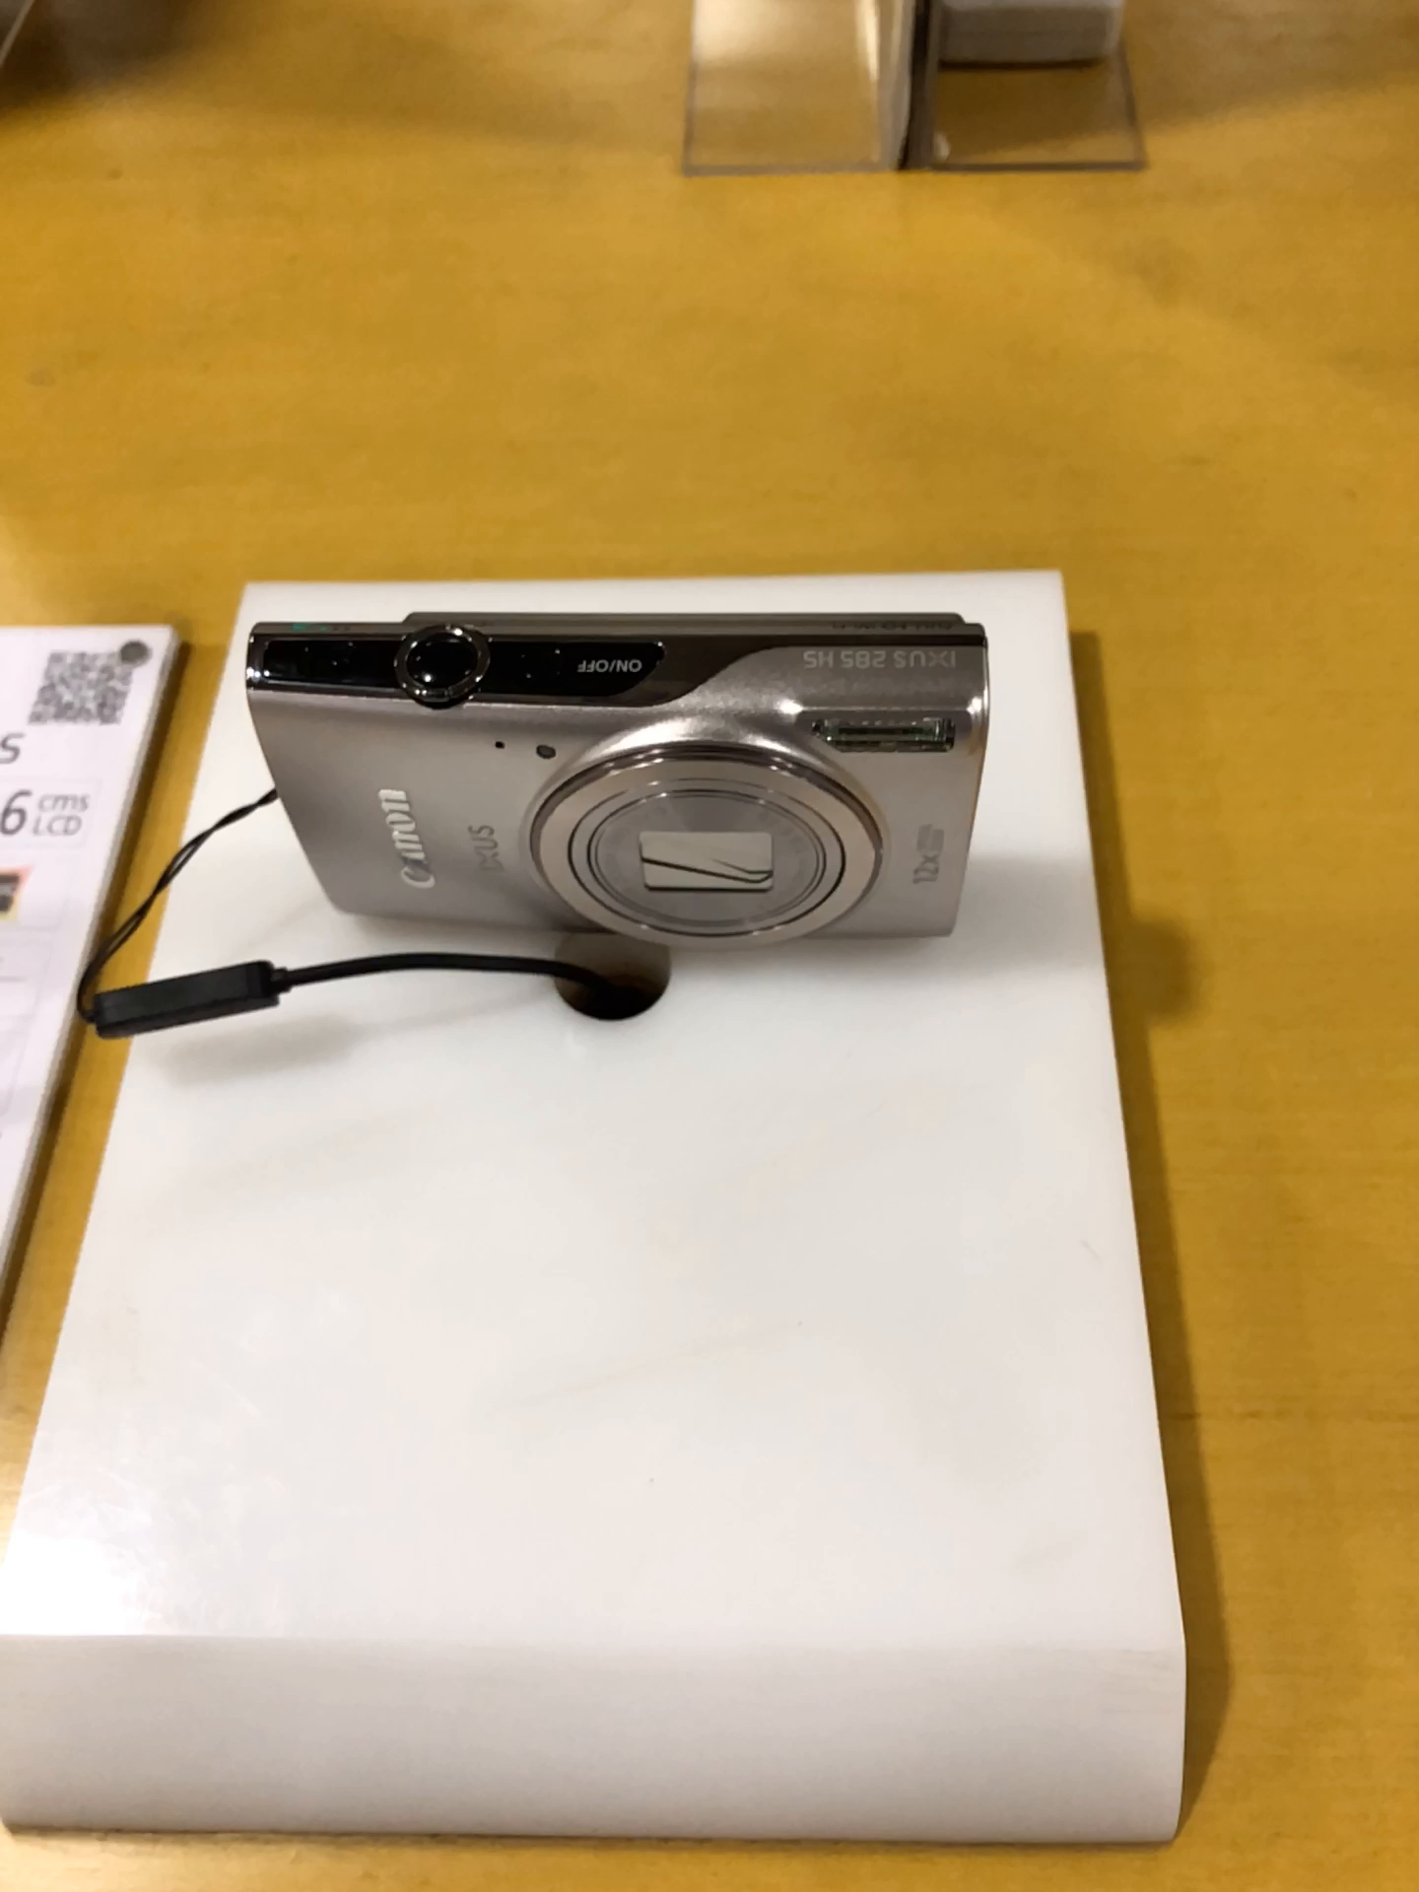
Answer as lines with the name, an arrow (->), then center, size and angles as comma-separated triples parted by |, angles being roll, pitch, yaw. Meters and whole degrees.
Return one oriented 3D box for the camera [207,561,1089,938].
camera -> -0.007, -0.026, 0.228 | 0.110, 0.060, 0.020 | 0, 58, 3
